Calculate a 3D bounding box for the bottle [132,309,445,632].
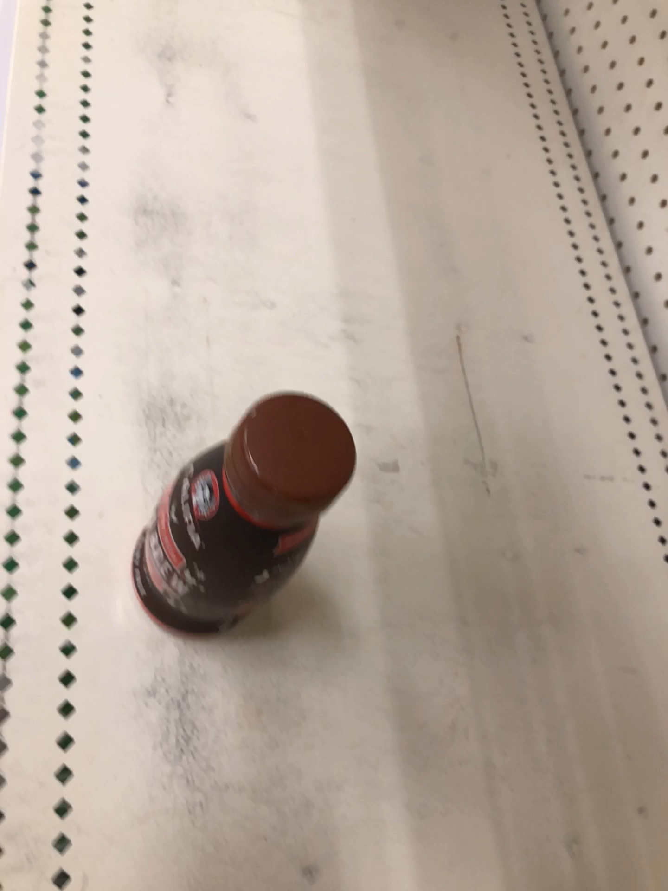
[{"bbox_3d":[-0.029,0.023,0.298,0.080,0.149,0.070,6,63,-19],"label":"bottle"}]
